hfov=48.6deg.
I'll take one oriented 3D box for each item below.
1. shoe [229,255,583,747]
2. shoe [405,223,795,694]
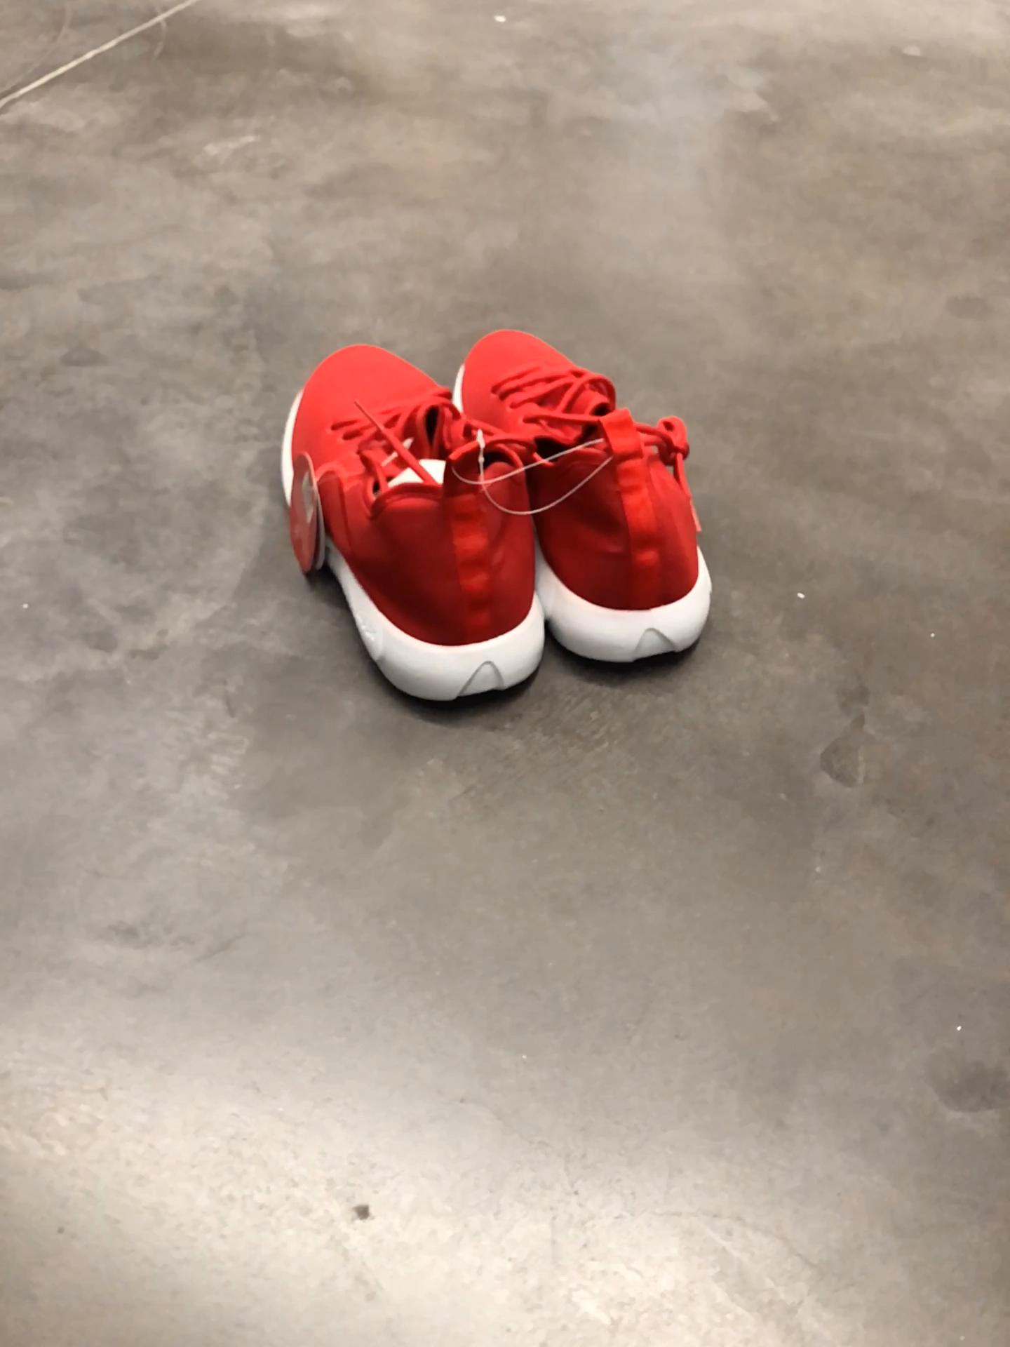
[{"bbox_3d":[-0.058,-0.098,0.548,0.100,0.099,0.251,-13,46,-14],"label":"shoe"},{"bbox_3d":[0.031,-0.121,0.562,0.100,0.099,0.251,-12,46,-13],"label":"shoe"}]
